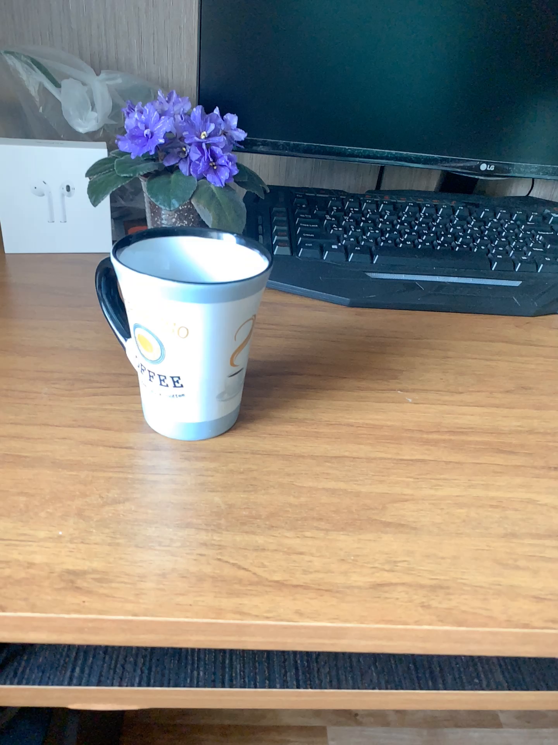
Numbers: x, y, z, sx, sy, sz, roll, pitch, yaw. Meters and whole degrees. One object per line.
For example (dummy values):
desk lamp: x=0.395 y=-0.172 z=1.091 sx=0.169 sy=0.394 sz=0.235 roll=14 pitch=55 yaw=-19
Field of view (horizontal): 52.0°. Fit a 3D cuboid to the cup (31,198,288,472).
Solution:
cup: x=-0.064 y=-0.027 z=0.308 sx=0.110 sy=0.100 sz=0.070 roll=26 pitch=36 yaw=32
